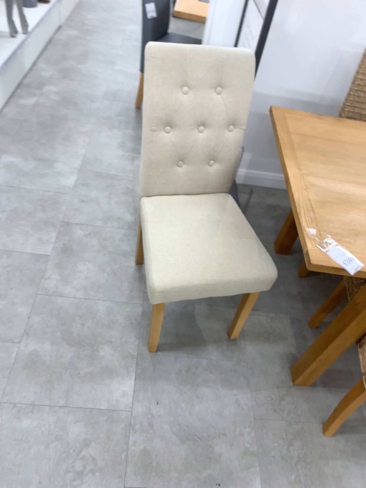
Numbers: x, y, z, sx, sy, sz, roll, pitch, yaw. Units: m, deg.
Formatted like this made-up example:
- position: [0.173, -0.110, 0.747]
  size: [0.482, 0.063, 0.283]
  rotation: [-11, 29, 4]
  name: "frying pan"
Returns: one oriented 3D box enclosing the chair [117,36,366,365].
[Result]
- position: [0.057, -0.107, 1.306]
  size: [0.479, 0.896, 0.615]
  rotation: [-4, 48, -15]
  name: "chair"
